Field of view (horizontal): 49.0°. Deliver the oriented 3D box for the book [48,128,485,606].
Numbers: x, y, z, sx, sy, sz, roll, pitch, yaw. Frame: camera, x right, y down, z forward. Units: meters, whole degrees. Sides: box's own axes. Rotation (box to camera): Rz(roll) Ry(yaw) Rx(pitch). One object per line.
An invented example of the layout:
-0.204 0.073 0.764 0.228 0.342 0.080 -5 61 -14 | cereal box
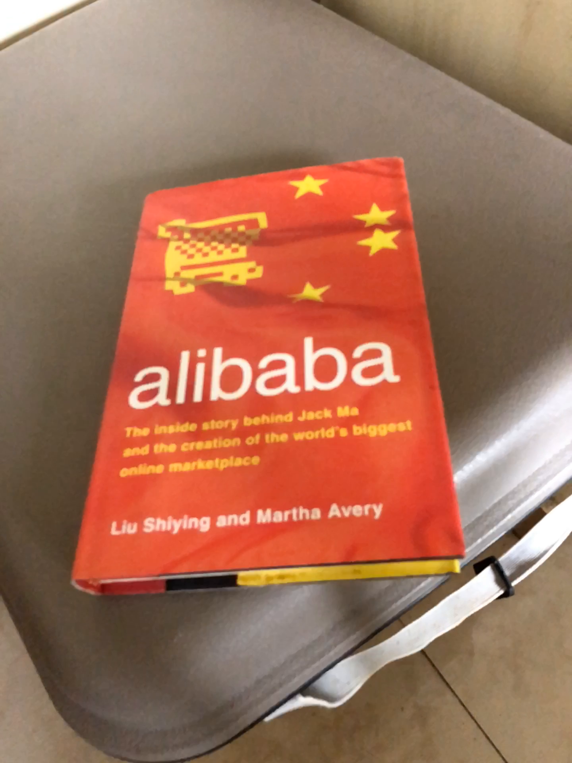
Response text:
-0.010 -0.028 0.320 0.160 0.040 0.261 -4 55 3 | book
